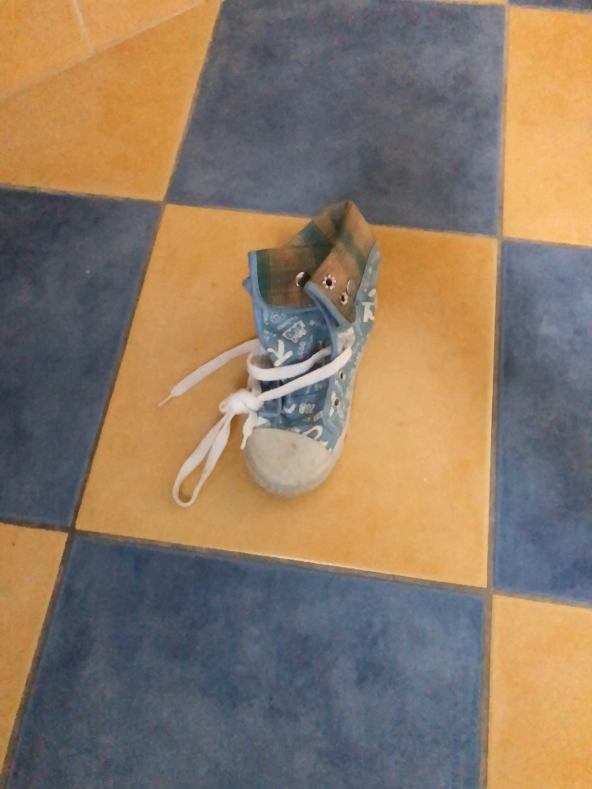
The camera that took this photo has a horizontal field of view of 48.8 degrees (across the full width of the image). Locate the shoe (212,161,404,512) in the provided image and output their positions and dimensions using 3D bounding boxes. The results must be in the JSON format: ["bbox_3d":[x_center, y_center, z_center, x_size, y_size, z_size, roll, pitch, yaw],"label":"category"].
[{"bbox_3d":[0.014,-0.037,0.453,0.080,0.120,0.201,10,67,6],"label":"shoe"}]
